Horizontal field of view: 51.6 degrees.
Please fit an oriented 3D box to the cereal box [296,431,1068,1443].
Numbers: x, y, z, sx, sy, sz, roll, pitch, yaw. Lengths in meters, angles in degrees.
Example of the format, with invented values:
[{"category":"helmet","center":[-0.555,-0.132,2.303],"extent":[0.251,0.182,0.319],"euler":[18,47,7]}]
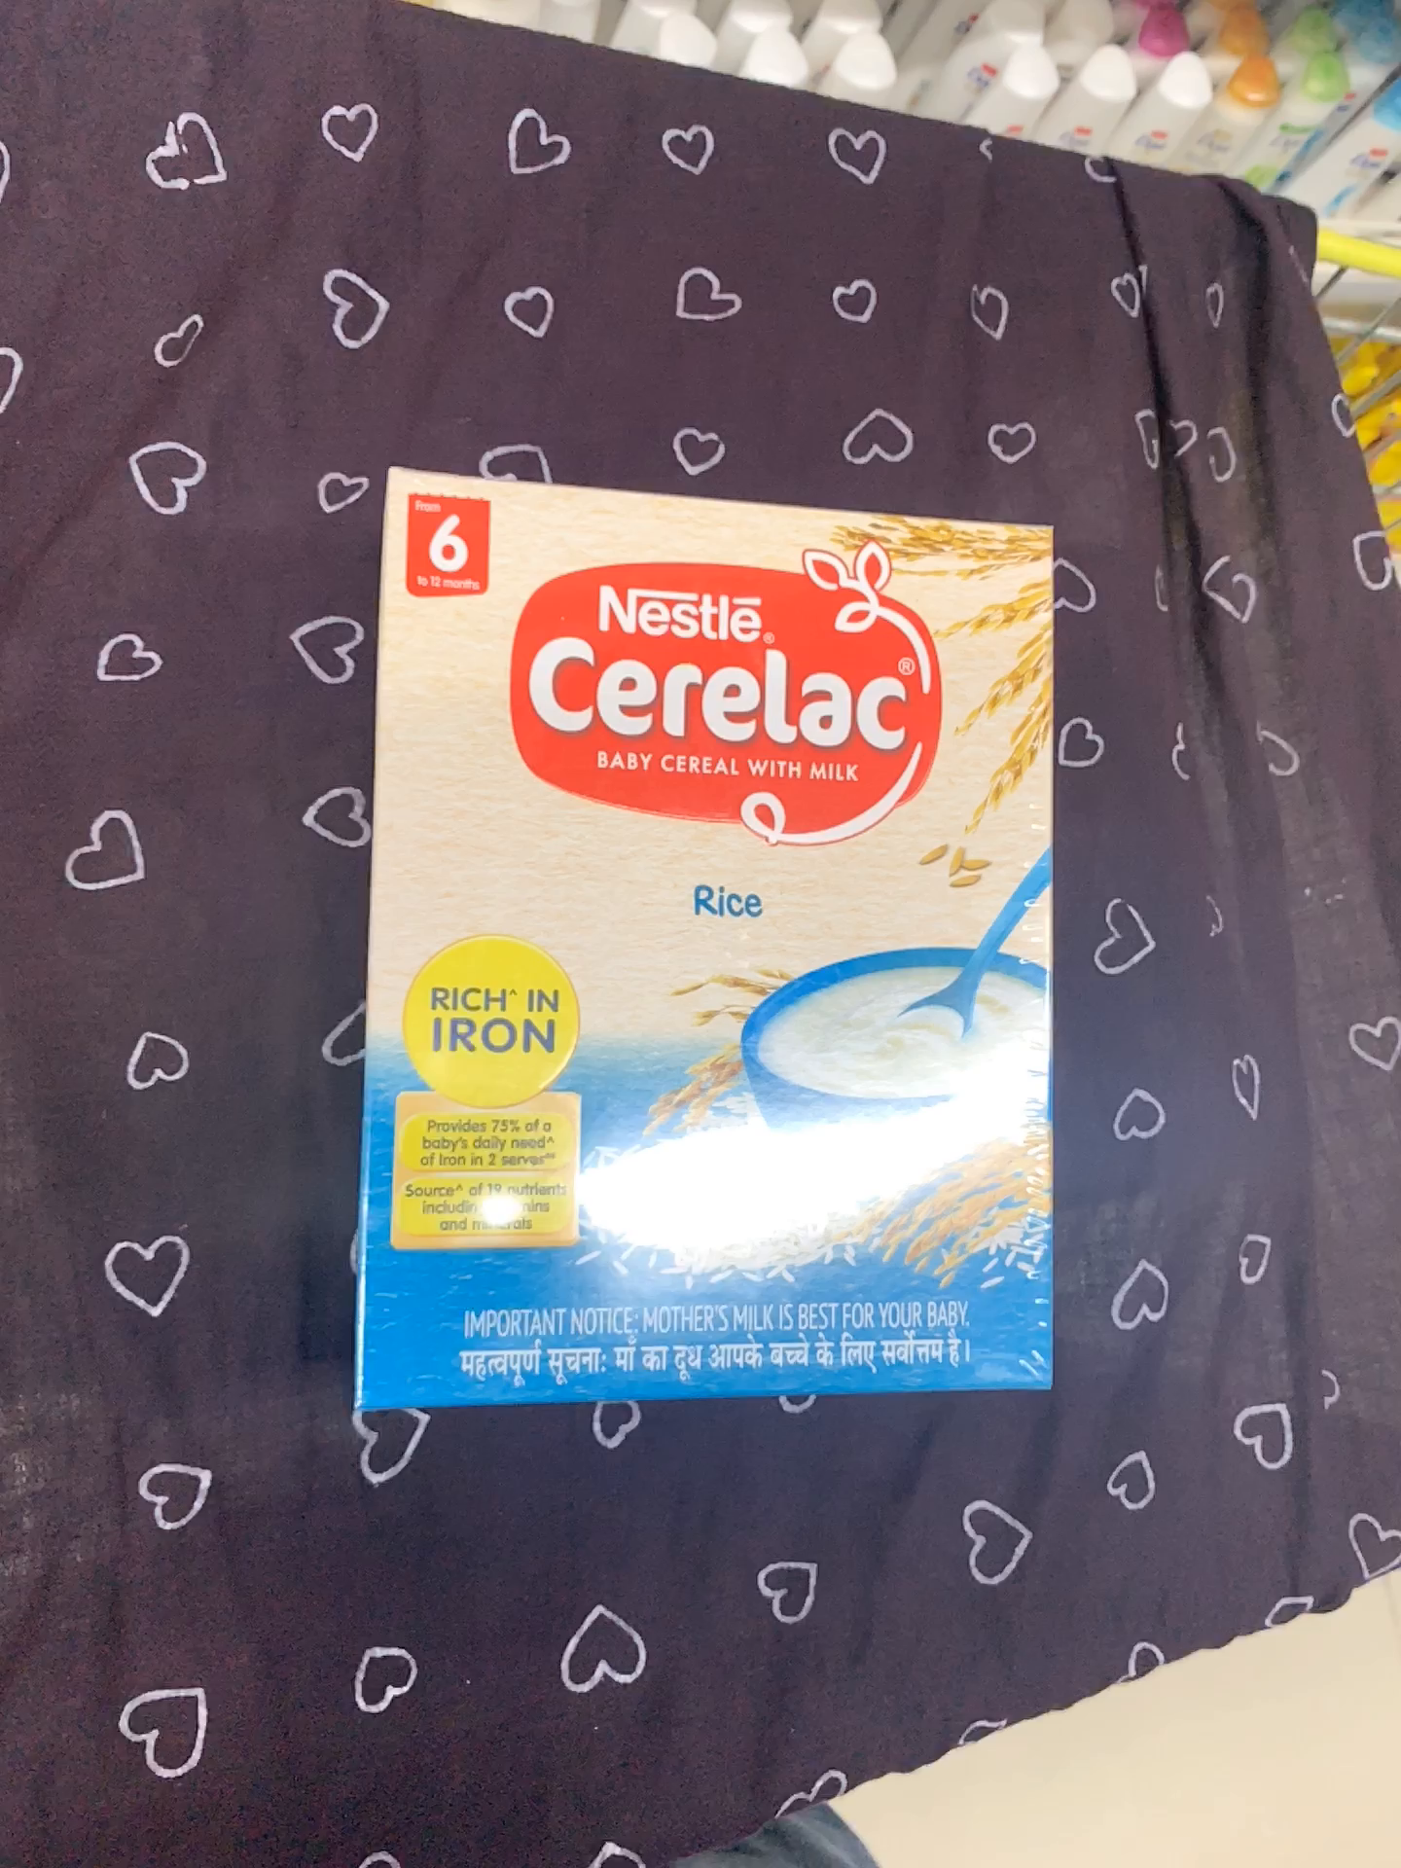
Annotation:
[{"category":"cereal box","center":[-0.003,0.001,0.322],"extent":[0.160,0.040,0.200],"euler":[1,85,-12]}]
